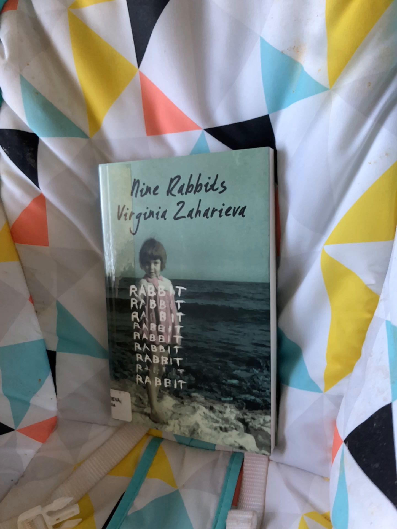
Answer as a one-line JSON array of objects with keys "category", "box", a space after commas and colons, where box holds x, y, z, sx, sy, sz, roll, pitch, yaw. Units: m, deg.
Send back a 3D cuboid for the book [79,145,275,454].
[{"category": "book", "box": [-0.018, 0.023, 0.327, 0.145, 0.025, 0.200, 1, 96, 26]}]
